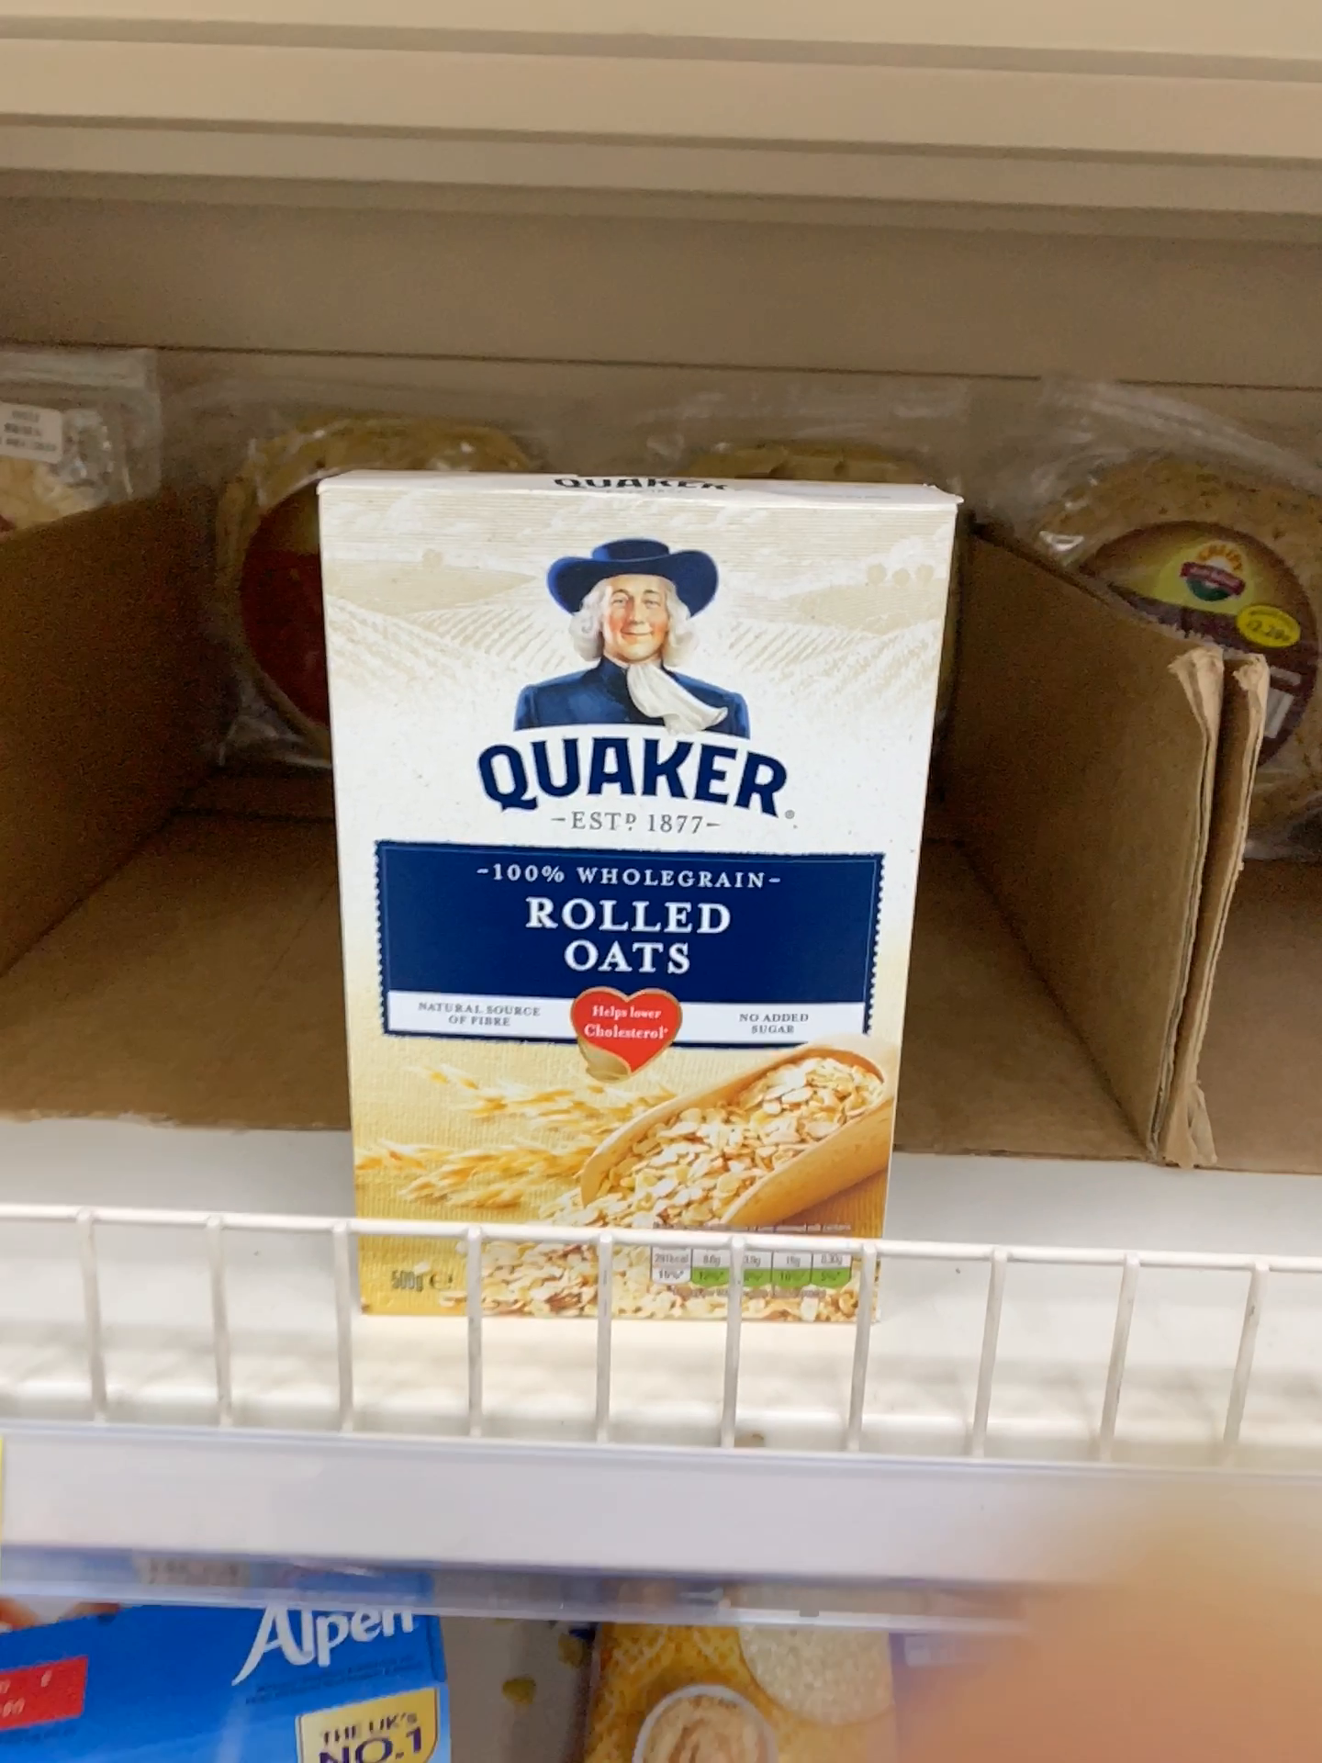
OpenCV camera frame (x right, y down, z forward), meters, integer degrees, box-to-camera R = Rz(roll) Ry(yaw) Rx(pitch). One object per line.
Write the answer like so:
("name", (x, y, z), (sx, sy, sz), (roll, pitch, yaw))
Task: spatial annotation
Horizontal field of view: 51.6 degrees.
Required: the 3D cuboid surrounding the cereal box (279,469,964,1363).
("cereal box", (-0.012, 0.014, 0.361), (0.150, 0.228, 0.050), (1, 19, -1))
